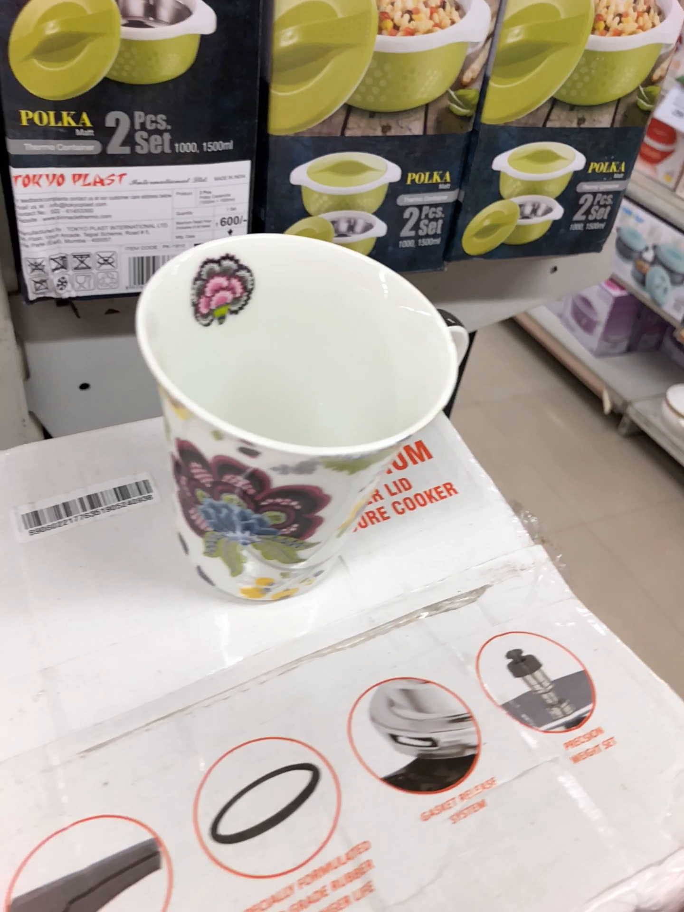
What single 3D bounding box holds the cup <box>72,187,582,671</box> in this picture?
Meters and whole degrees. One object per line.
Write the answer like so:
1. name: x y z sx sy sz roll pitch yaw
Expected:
1. cup: -0.009 -0.014 0.242 0.121 0.089 0.080 -25 62 -34
